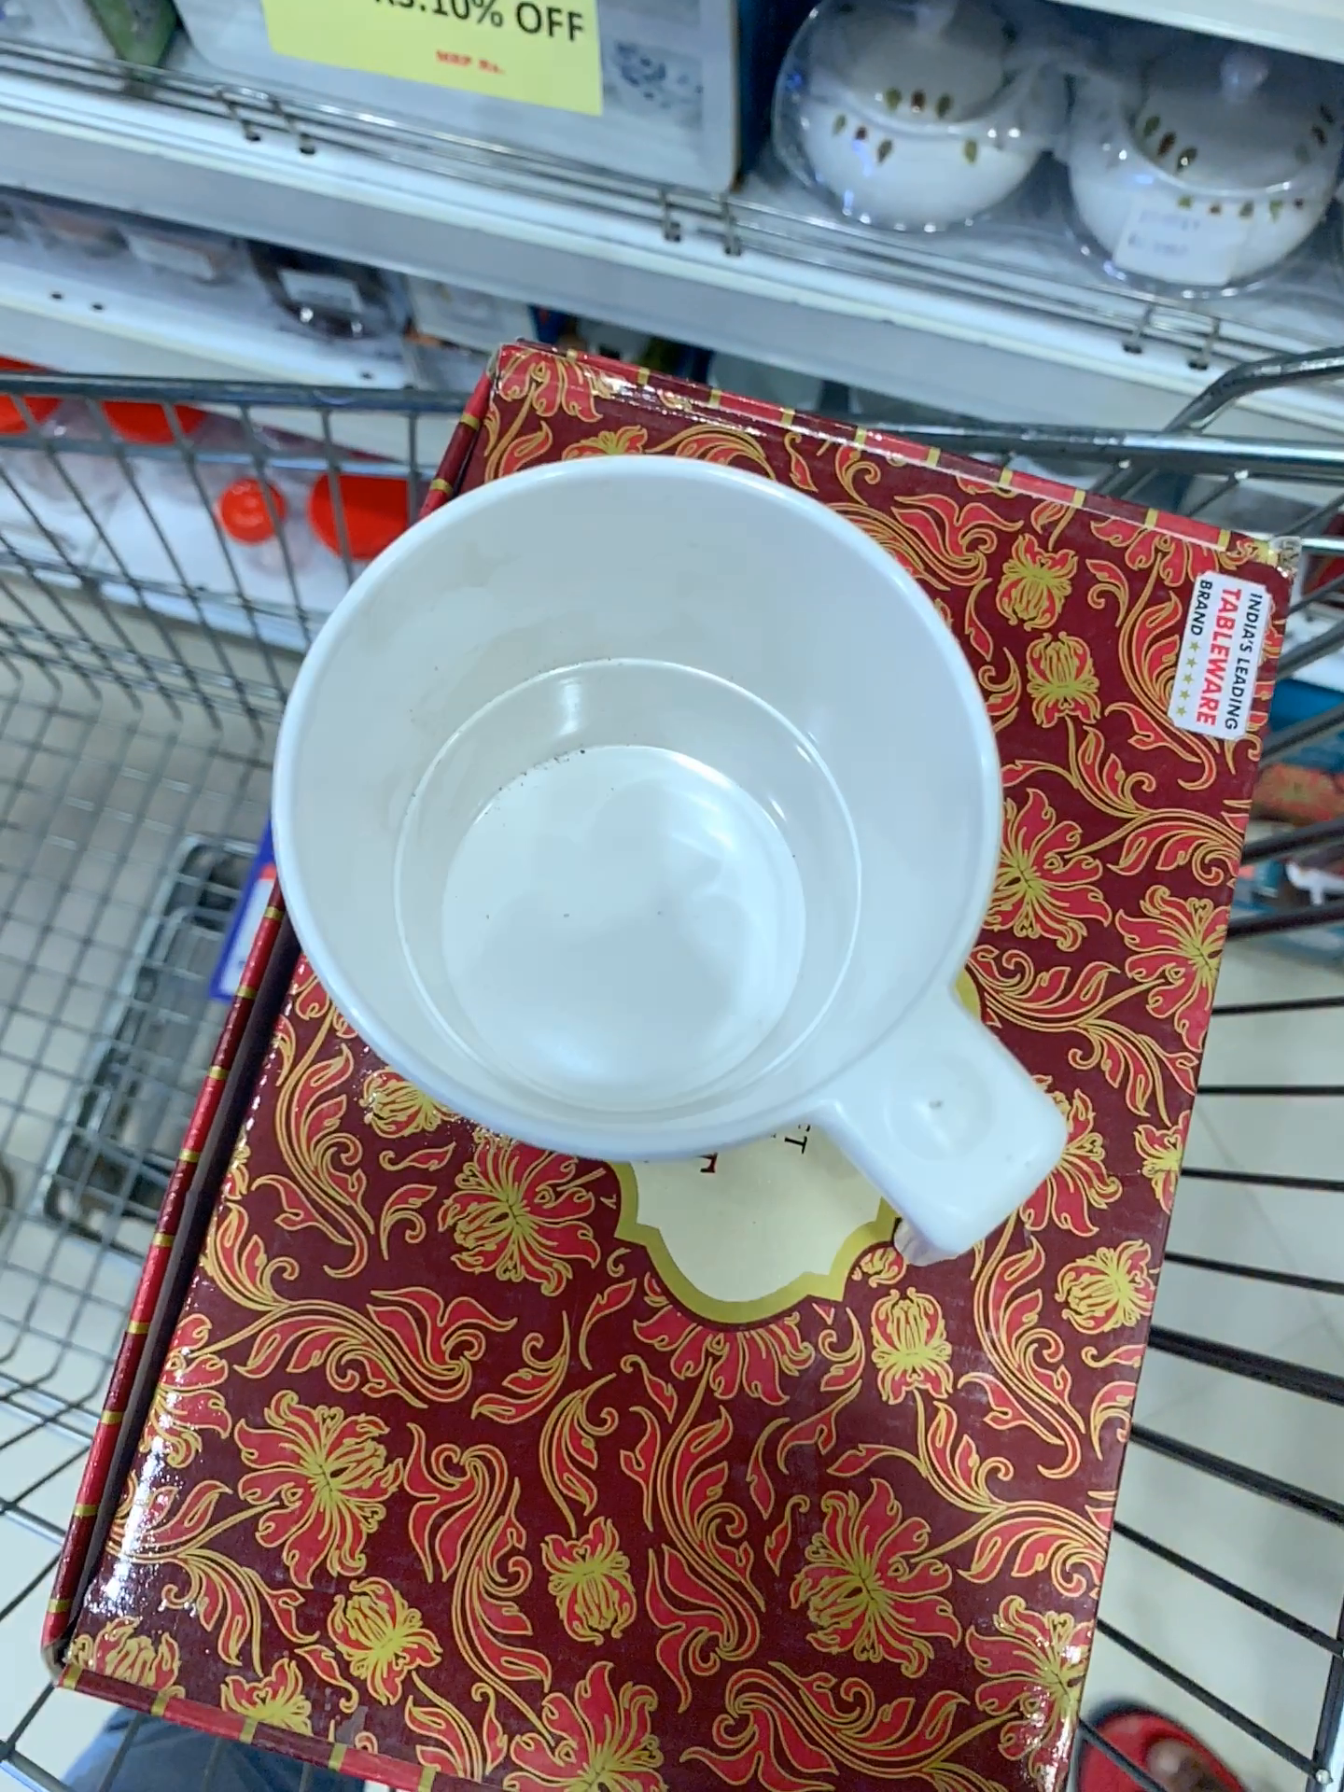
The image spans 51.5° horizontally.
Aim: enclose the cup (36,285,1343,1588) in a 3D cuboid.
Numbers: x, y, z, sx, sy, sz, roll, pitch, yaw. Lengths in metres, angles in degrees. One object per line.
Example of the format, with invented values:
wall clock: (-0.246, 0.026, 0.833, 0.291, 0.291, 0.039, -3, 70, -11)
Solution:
cup: (0.002, 0.006, 0.181, 0.110, 0.080, 0.080, 43, 82, 8)
